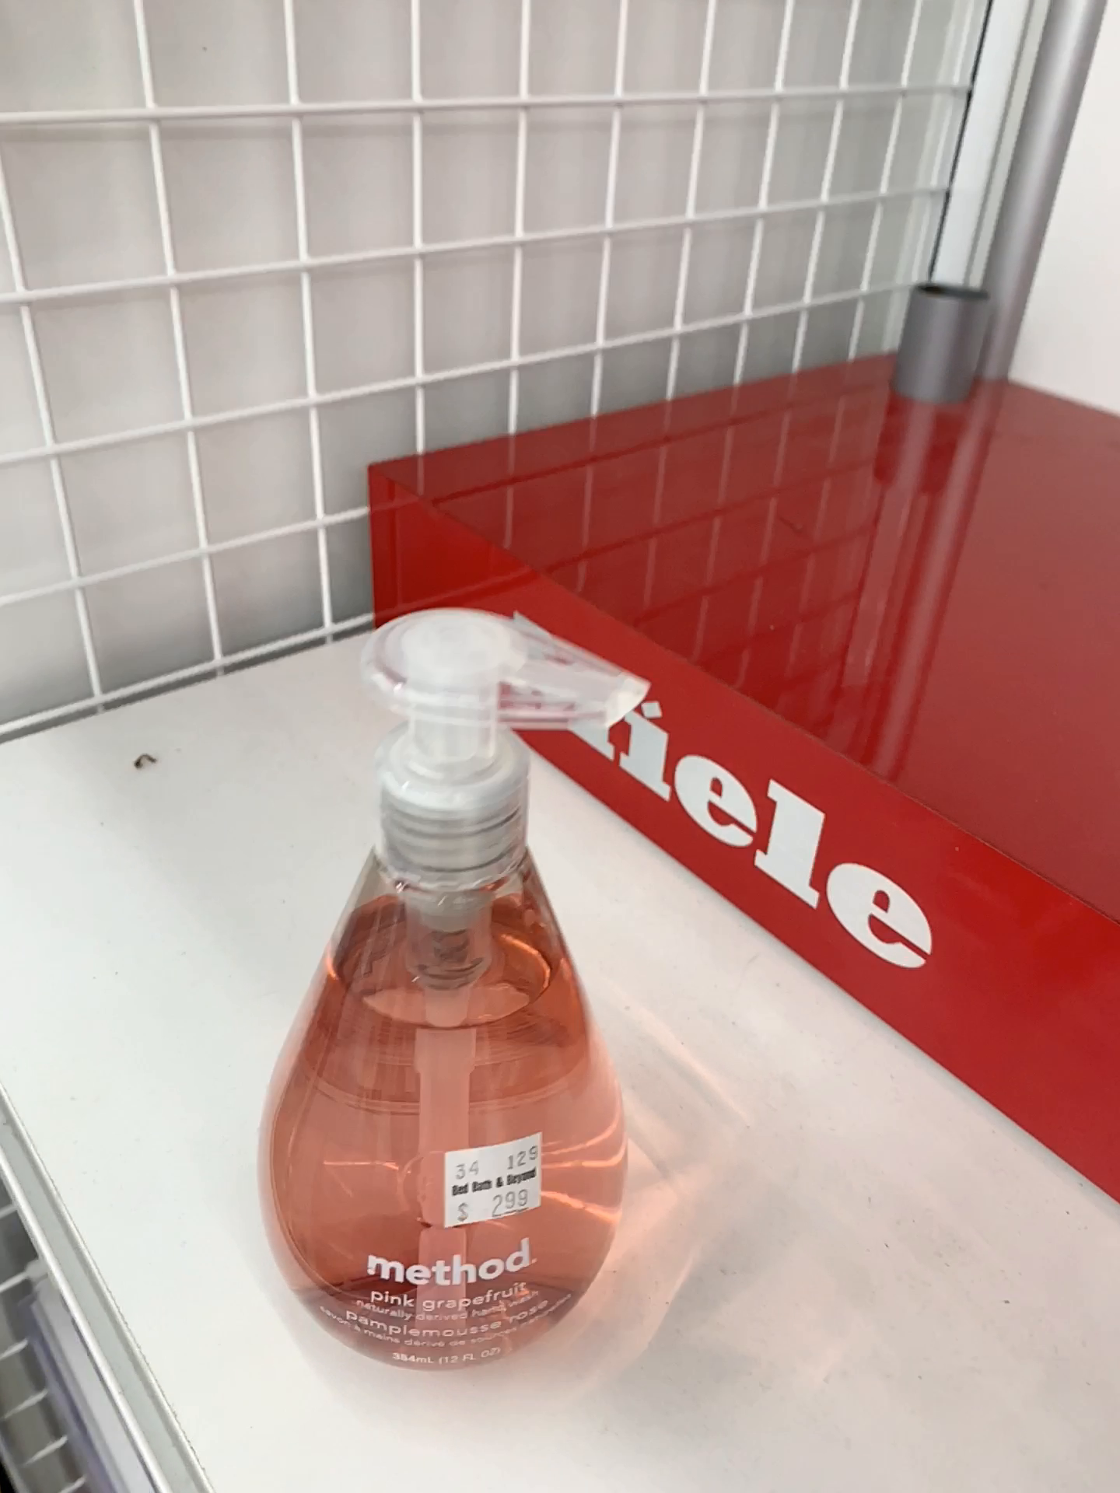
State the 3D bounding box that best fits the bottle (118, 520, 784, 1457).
[{"bbox_3d":[-0.020,0.049,0.217,0.080,0.160,0.078,3,34,-2],"label":"bottle"}]
